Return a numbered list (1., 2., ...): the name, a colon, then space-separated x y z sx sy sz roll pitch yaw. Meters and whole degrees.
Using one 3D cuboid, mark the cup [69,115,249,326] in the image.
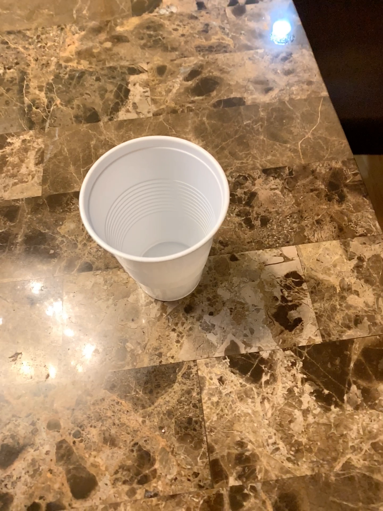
1. cup: -0.018 -0.017 0.243 0.077 0.084 0.082 -1 63 2
